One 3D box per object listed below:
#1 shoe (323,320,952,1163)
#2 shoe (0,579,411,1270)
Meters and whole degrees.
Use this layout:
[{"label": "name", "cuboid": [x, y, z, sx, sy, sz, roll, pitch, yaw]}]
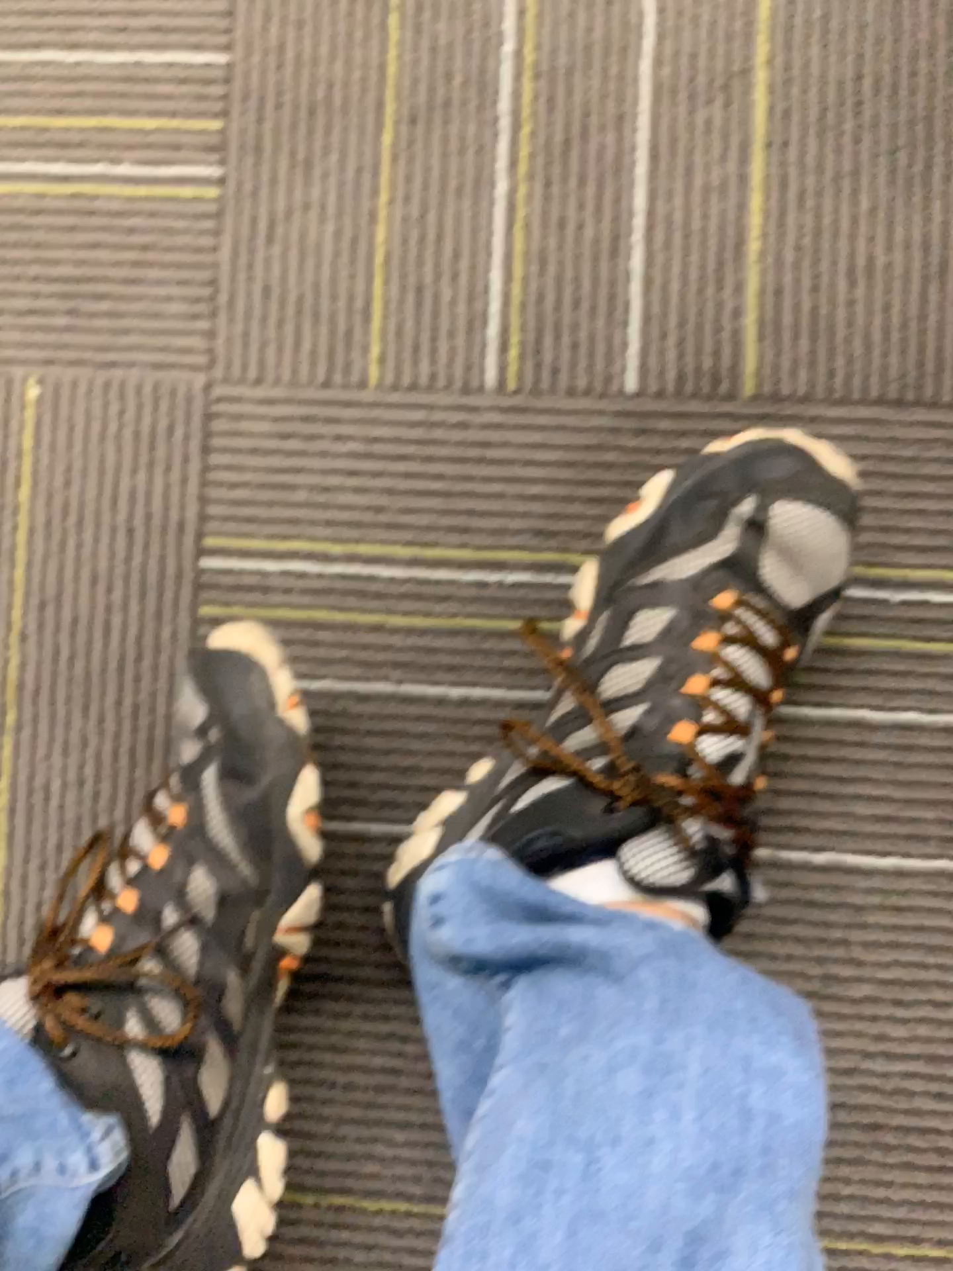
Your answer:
[{"label": "shoe", "cuboid": [0.088, 0.050, 0.440, 0.119, 0.119, 0.325, 38, 99, 39]}, {"label": "shoe", "cuboid": [-0.130, 0.145, 0.451, 0.127, 0.119, 0.325, 2, 97, -35]}]
